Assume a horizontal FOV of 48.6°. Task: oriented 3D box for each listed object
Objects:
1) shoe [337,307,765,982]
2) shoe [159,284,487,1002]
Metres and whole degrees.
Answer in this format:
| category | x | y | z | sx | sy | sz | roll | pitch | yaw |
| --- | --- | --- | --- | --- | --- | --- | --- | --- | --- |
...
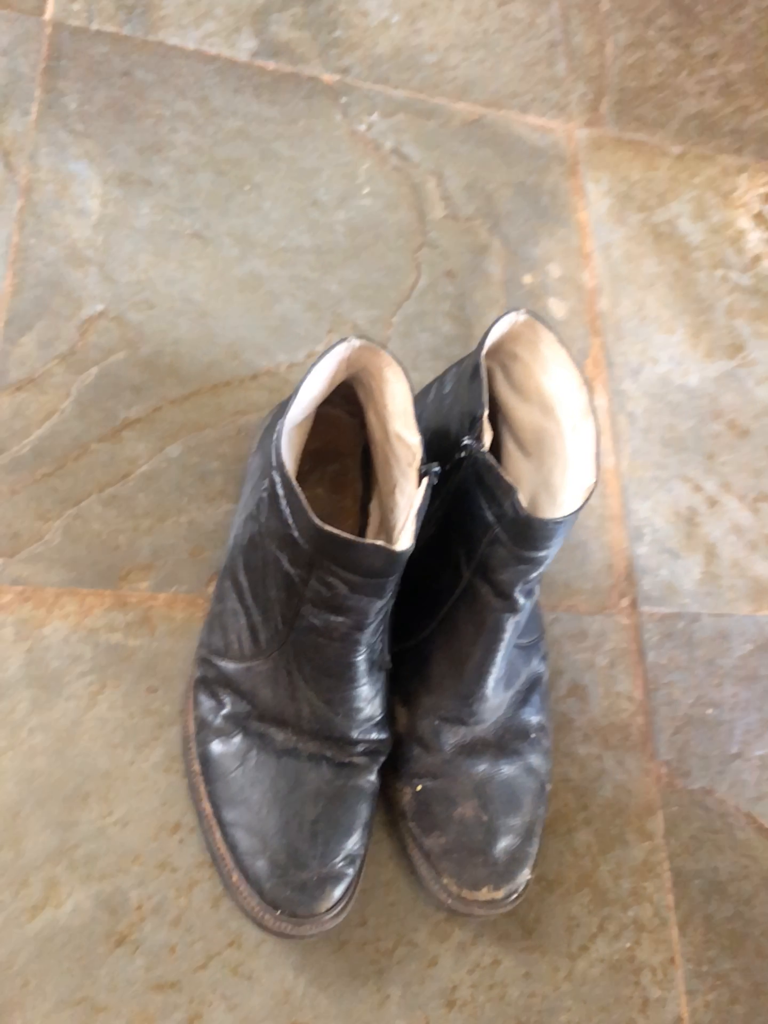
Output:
| category | x | y | z | sx | sy | sz | roll | pitch | yaw |
| --- | --- | --- | --- | --- | --- | --- | --- | --- | --- |
| shoe | 0.053 | 0.059 | 0.399 | 0.100 | 0.159 | 0.251 | -1 | 70 | -16 |
| shoe | -0.036 | 0.058 | 0.378 | 0.100 | 0.159 | 0.251 | 5 | 69 | -14 |
